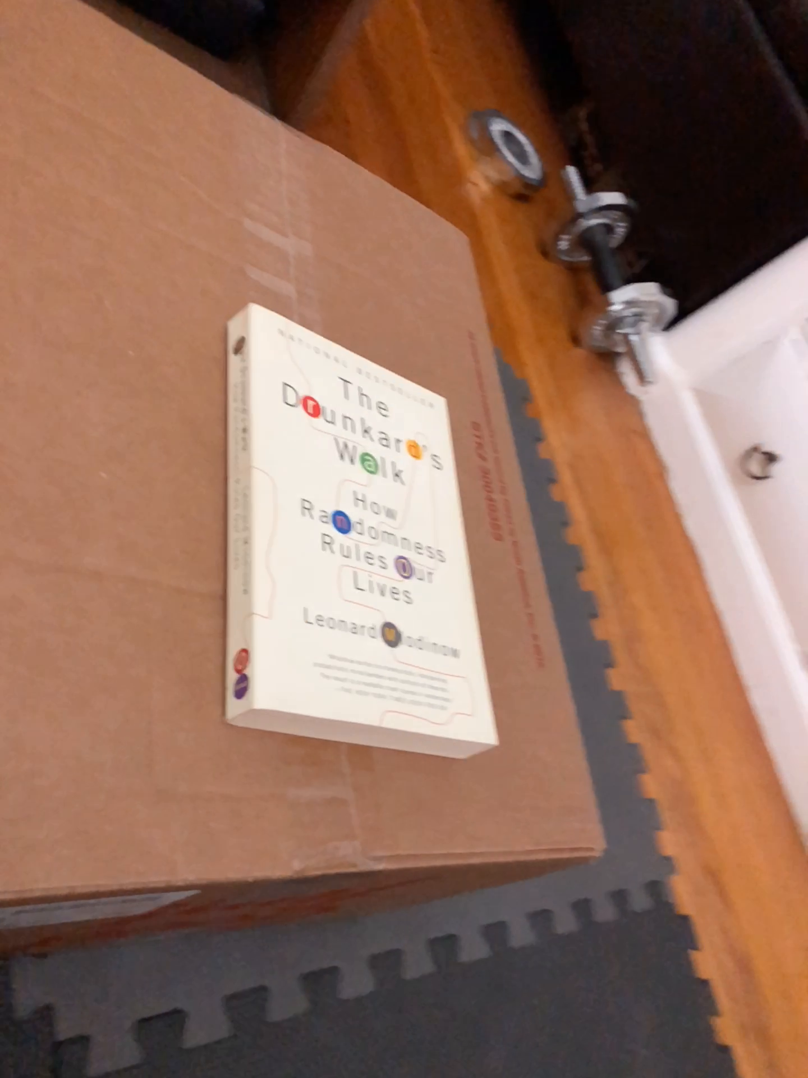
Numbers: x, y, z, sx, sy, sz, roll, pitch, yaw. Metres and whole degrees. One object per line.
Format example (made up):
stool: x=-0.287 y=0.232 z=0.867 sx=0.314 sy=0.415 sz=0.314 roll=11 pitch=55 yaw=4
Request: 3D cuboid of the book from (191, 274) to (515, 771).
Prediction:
book: x=-0.027 y=-0.006 z=0.419 sx=0.140 sy=0.040 sz=0.211 roll=18 pitch=53 yaw=-38
